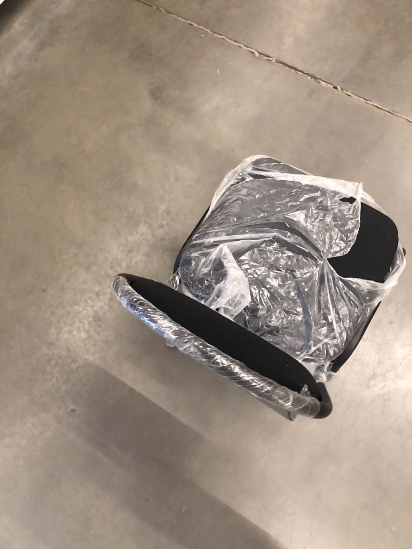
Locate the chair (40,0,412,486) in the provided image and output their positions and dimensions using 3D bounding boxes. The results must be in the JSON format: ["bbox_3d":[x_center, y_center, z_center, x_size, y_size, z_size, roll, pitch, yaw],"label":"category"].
[{"bbox_3d":[0.162,0.006,0.971,0.450,0.878,0.551,30,76,12],"label":"chair"}]
